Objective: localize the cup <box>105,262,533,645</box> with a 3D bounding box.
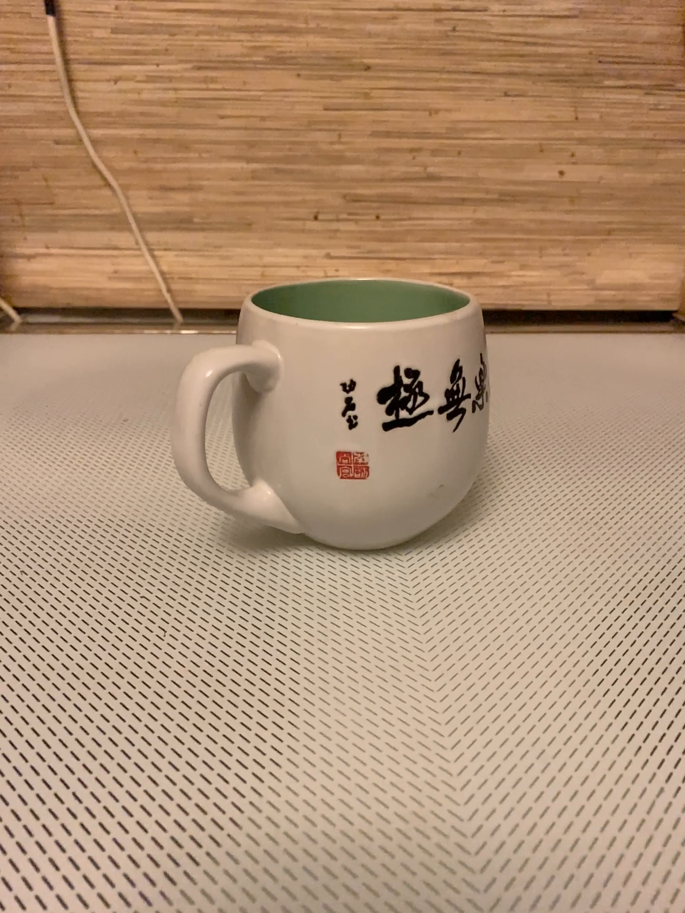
[{"bbox_3d":[-0.004,-0.015,0.264,0.088,0.091,0.124,19,28,37],"label":"cup"}]
